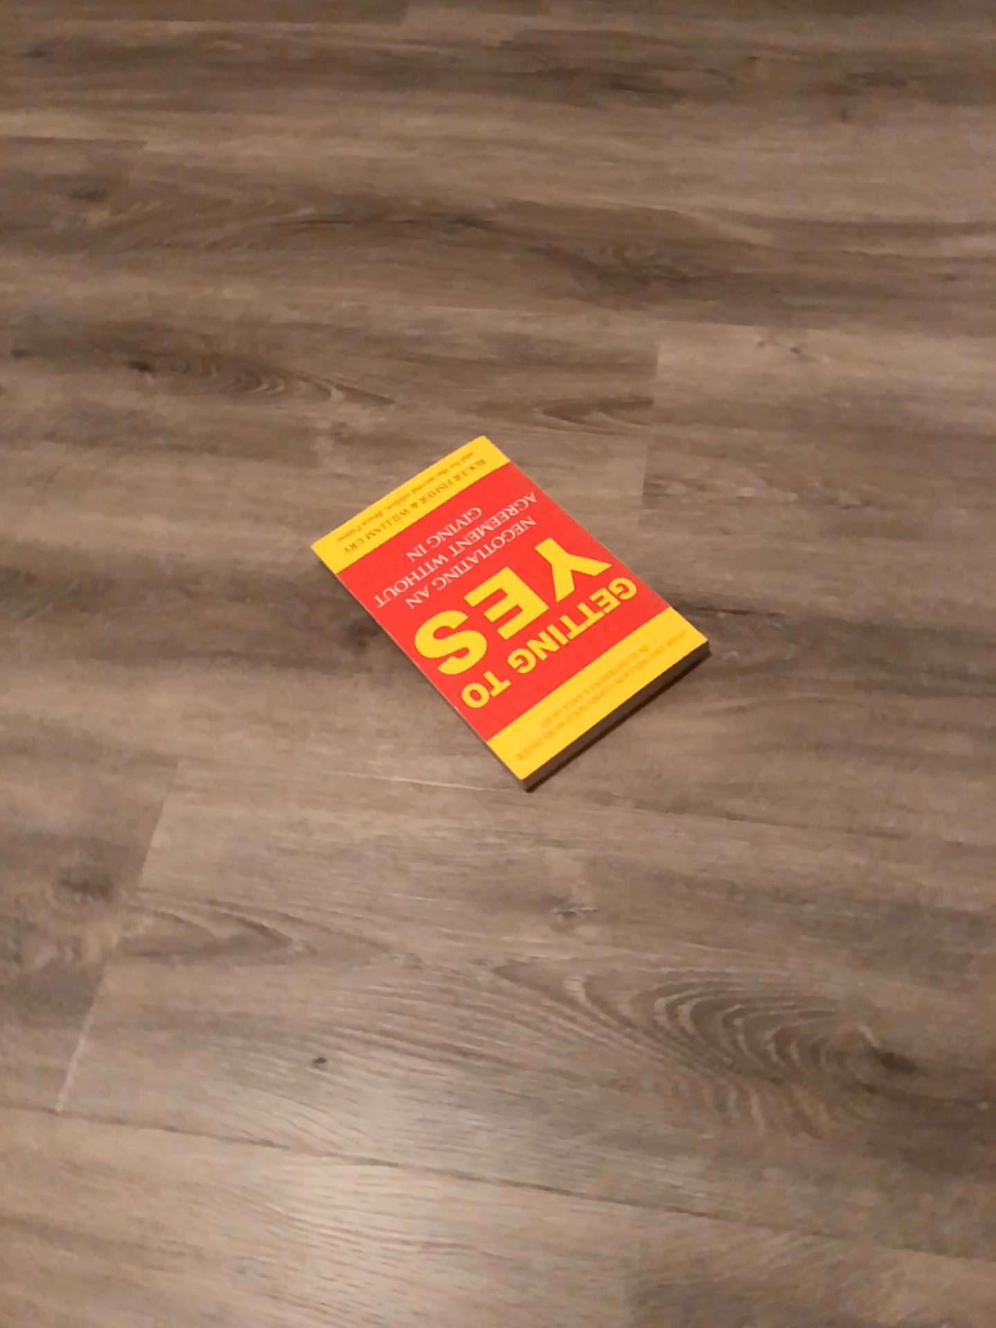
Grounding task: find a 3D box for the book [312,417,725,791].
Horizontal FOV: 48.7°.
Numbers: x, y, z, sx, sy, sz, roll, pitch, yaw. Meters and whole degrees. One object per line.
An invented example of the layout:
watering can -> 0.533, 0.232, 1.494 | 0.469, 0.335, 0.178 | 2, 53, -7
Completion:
book -> 0.007, -0.041, 0.596 | 0.130, 0.026, 0.190 | -34, 62, -16
